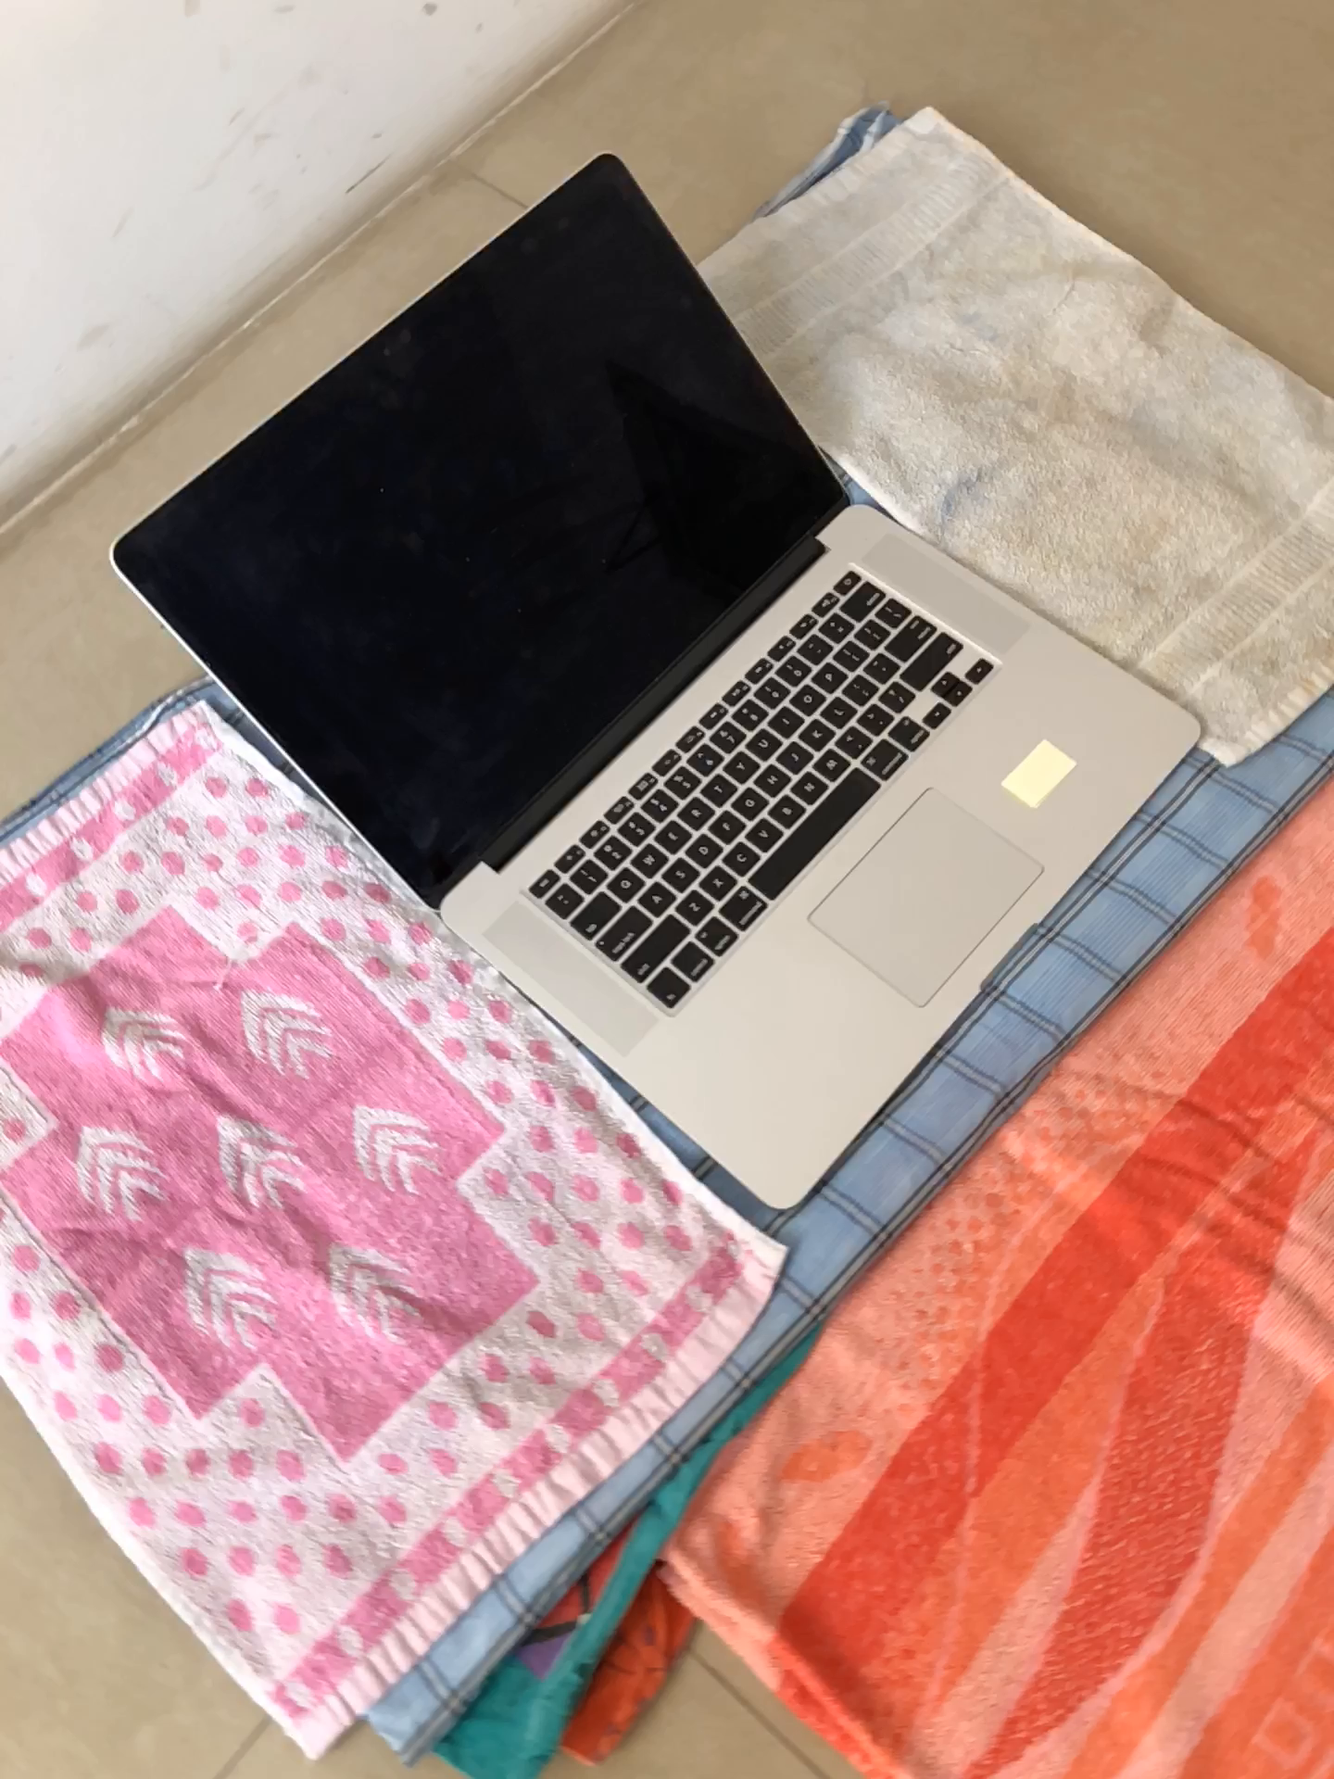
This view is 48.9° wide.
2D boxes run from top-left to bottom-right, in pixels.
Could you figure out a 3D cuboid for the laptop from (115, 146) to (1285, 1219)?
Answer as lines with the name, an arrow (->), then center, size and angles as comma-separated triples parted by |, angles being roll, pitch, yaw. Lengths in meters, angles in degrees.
laptop -> 0.010, -0.119, 0.733 | 0.413, 0.144, 0.344 | 39, 74, 18
